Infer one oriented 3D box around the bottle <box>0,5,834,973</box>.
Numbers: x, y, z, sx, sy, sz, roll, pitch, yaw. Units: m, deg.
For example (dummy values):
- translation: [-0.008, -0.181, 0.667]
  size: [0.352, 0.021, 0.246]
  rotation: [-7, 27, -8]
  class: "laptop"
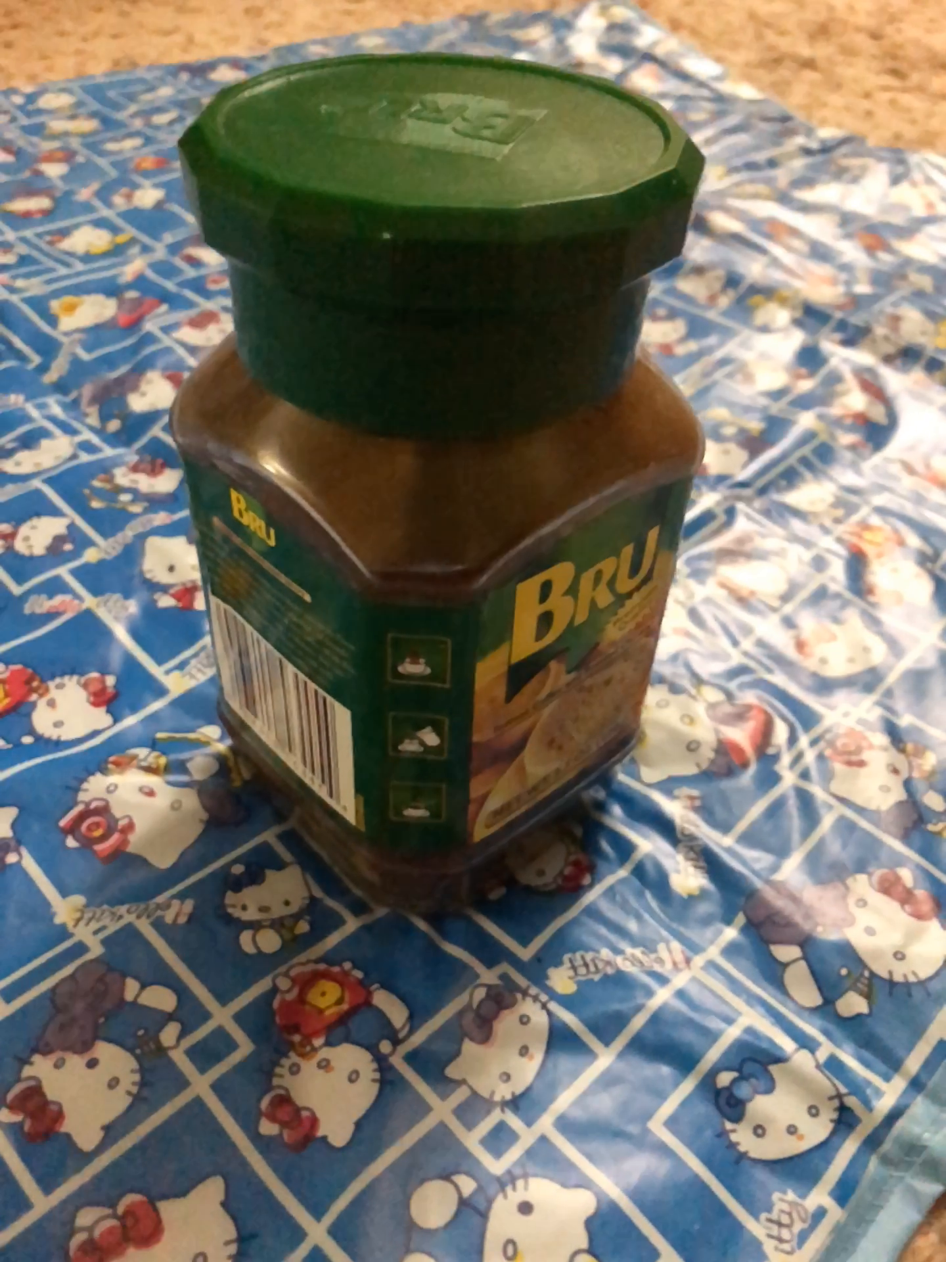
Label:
- translation: [-0.010, -0.023, 0.175]
  size: [0.080, 0.120, 0.070]
  rotation: [-30, 52, -31]
  class: "bottle"
